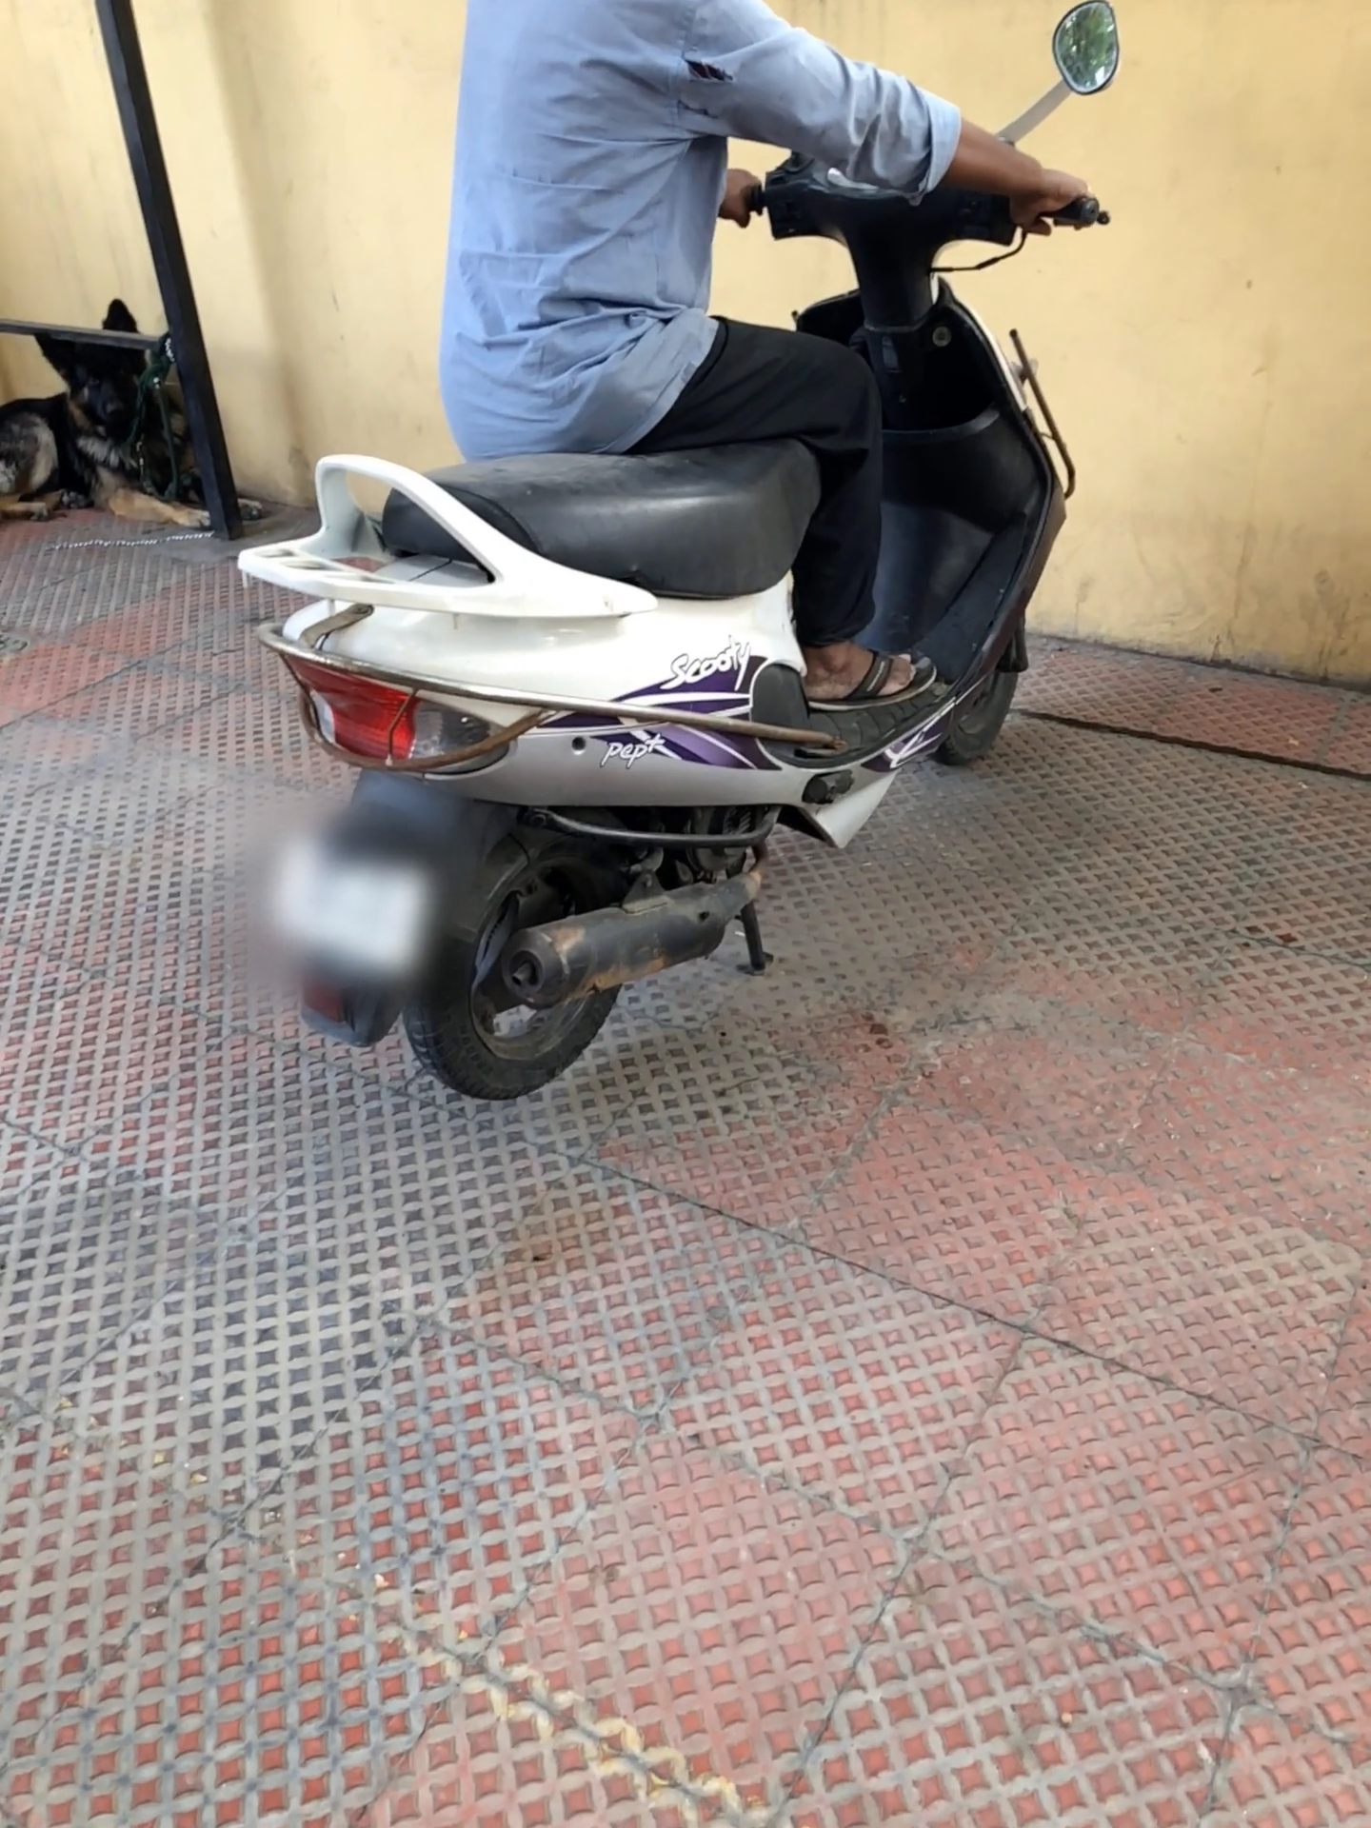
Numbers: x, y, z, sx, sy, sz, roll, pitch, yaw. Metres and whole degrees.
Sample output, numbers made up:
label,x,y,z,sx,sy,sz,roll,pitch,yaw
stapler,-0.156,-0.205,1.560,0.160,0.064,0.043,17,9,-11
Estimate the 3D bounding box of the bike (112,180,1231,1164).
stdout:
label,x,y,z,sx,sy,sz,roll,pitch,yaw
bike,0.150,-0.507,2.153,0.599,0.816,1.619,19,38,31
